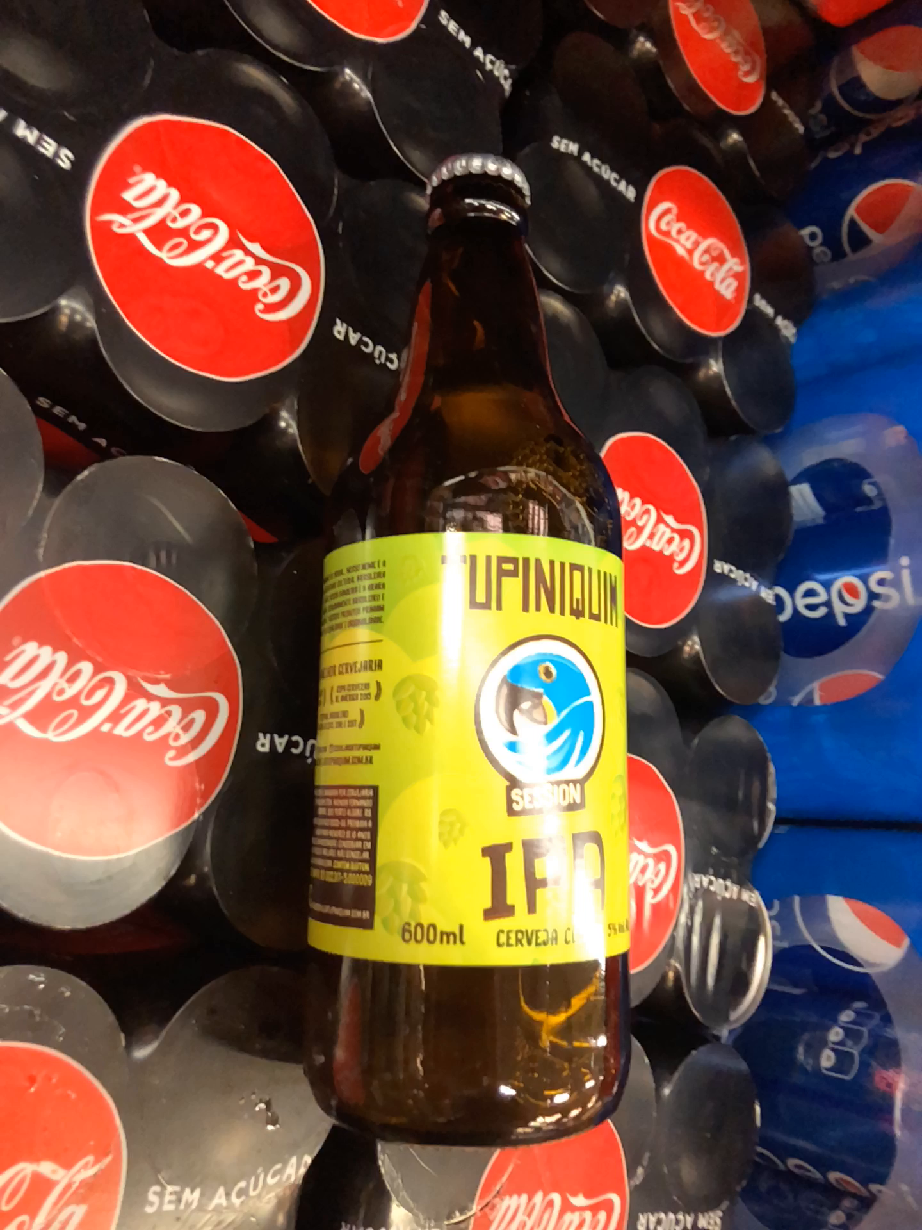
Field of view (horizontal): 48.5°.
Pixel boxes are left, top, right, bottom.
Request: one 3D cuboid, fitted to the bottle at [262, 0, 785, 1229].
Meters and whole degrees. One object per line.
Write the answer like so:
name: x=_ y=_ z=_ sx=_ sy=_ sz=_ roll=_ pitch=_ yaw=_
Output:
bottle: x=0.014 y=-0.012 z=0.245 sx=0.091 sy=0.070 sz=0.260 roll=8 pitch=77 yaw=-39
